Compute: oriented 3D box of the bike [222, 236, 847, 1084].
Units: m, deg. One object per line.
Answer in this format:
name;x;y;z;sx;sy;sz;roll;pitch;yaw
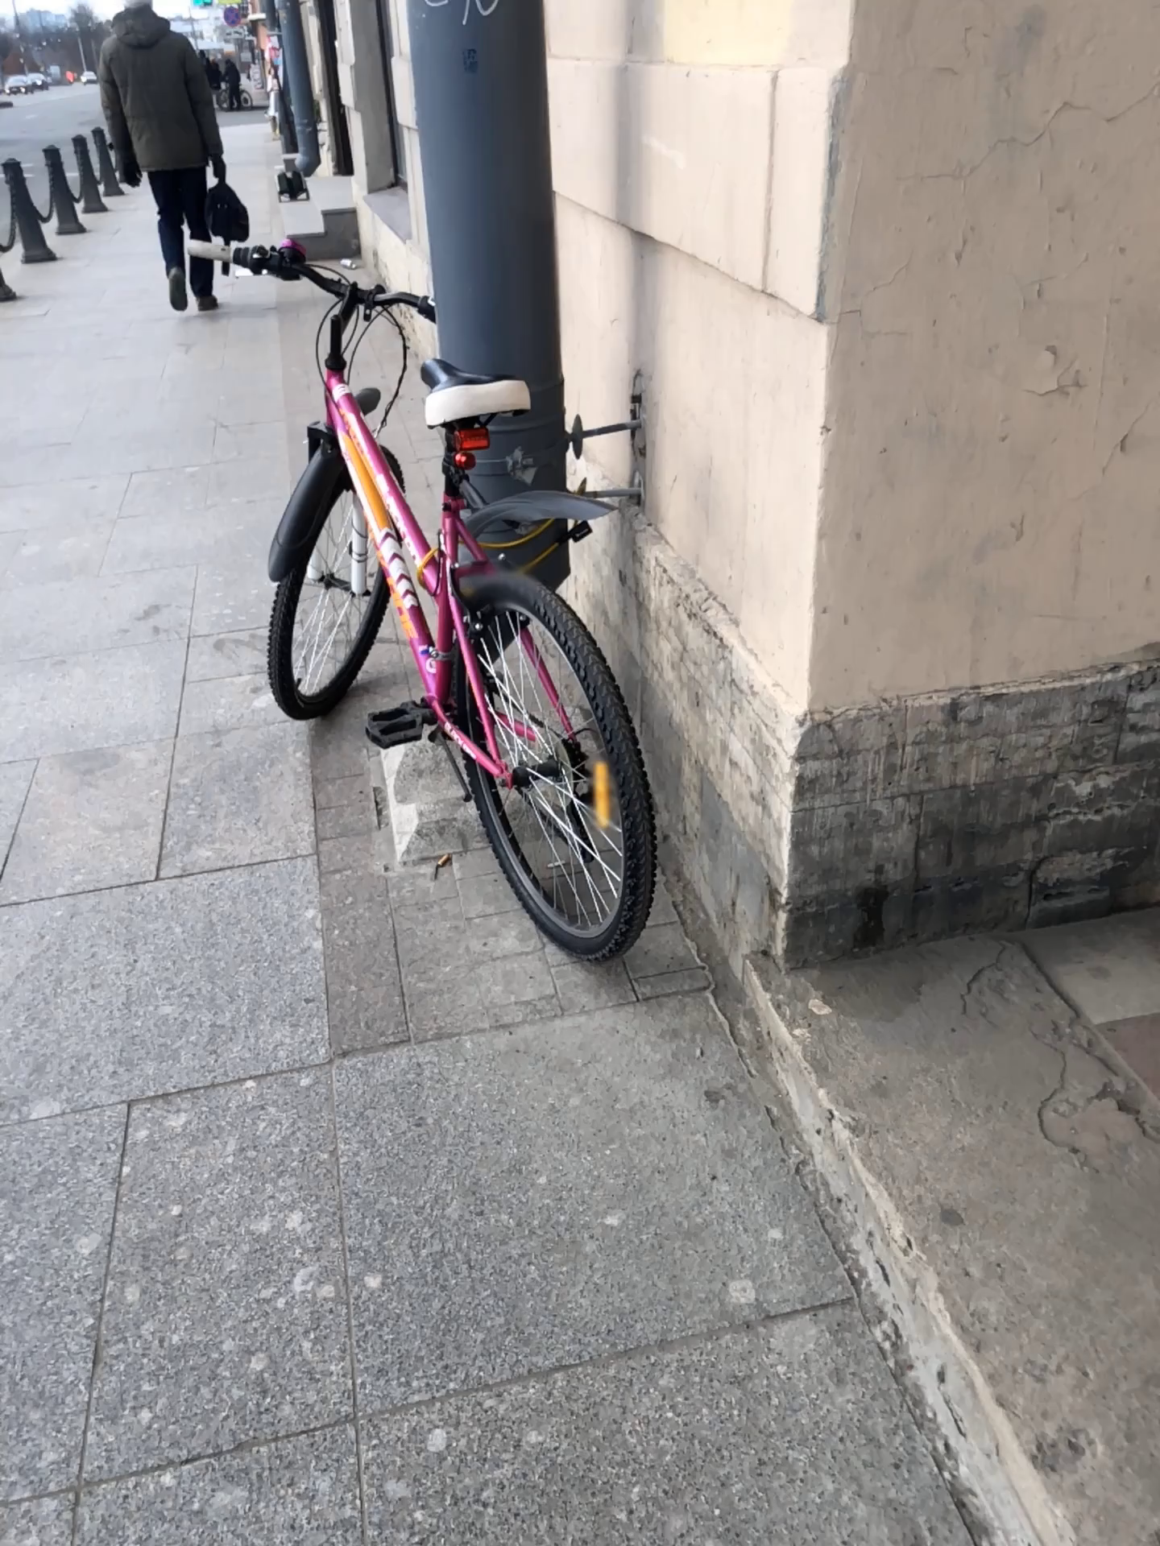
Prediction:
bike;-0.193;-0.397;2.346;0.622;0.974;1.583;-12;29;-17
